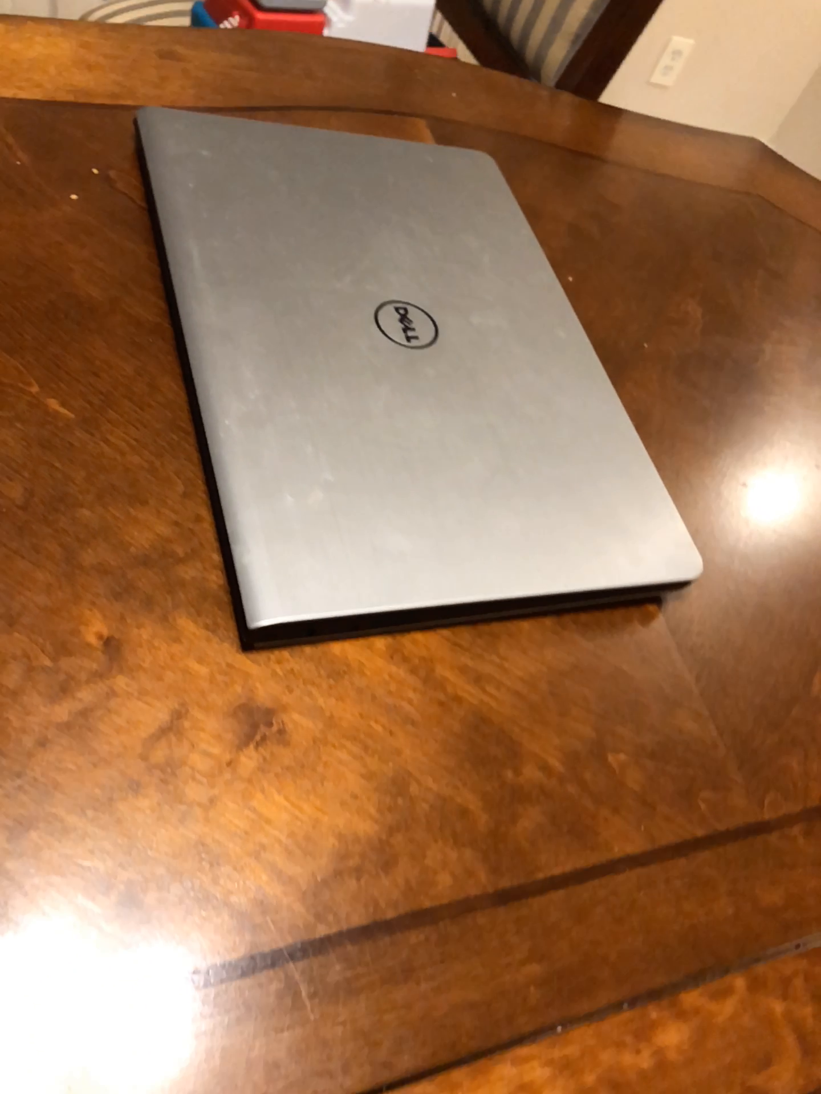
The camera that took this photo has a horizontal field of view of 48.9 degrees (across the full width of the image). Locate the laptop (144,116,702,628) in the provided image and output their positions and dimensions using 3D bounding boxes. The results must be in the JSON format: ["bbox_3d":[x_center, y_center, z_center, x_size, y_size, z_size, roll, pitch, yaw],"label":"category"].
[{"bbox_3d":[-0.005,-0.125,0.523,0.243,0.002,0.365,-4,57,-24],"label":"laptop"}]
